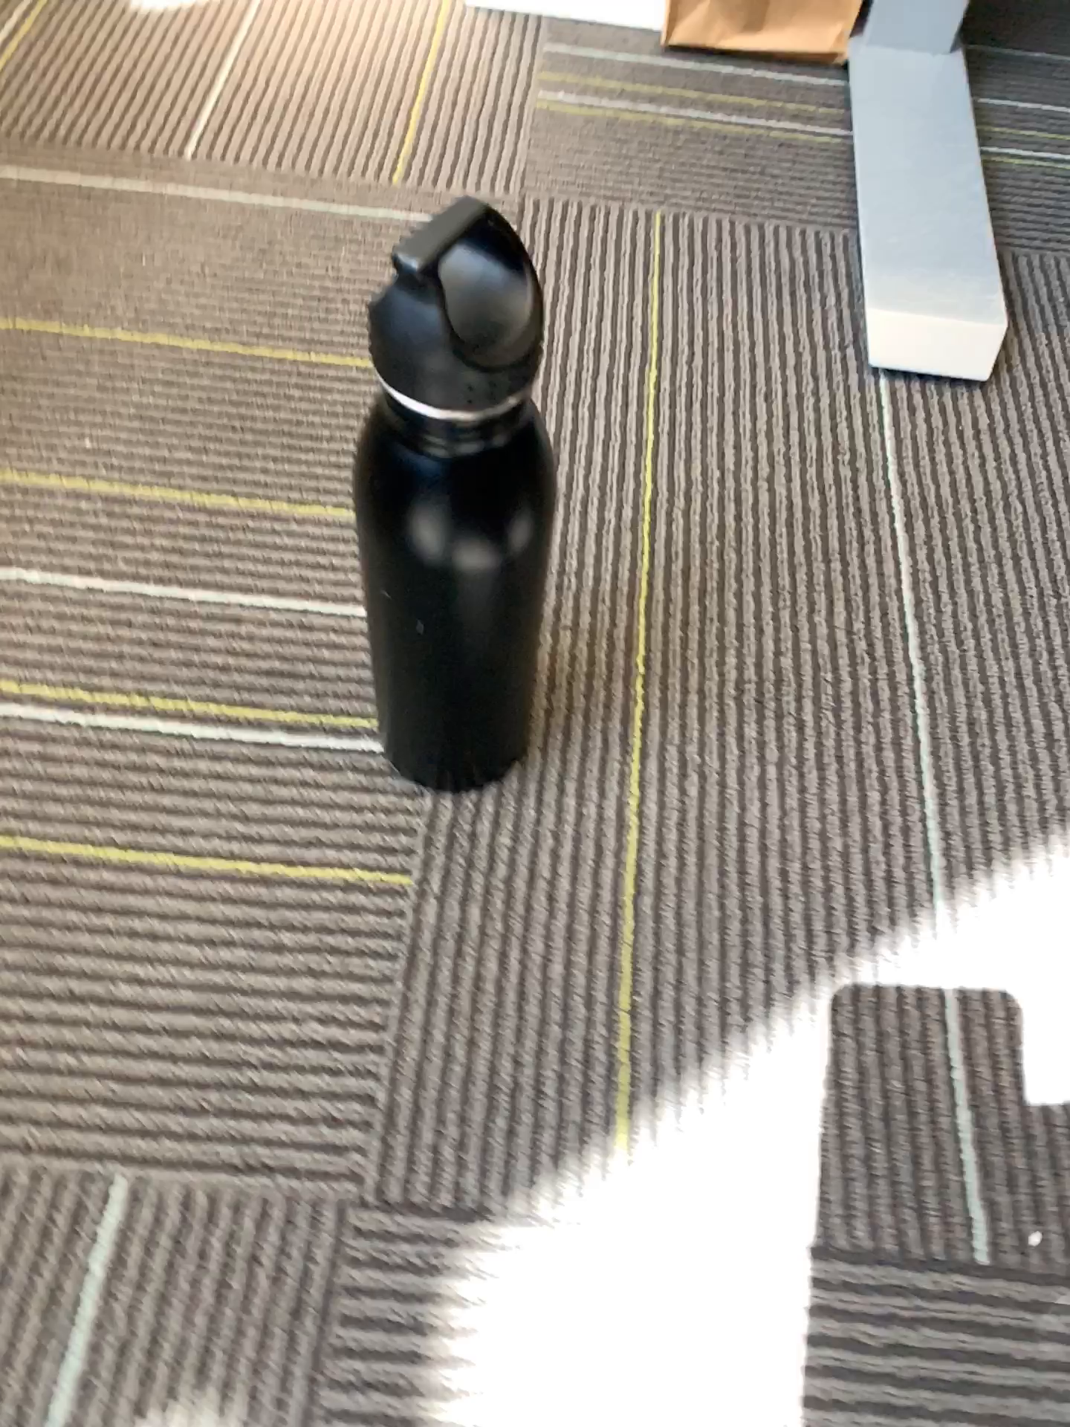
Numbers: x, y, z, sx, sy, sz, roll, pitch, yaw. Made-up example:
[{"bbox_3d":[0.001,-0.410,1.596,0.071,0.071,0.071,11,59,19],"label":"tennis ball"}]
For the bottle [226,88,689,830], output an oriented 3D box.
[{"bbox_3d":[-0.028,-0.065,0.392,0.090,0.249,0.080,-33,67,-22],"label":"bottle"}]
